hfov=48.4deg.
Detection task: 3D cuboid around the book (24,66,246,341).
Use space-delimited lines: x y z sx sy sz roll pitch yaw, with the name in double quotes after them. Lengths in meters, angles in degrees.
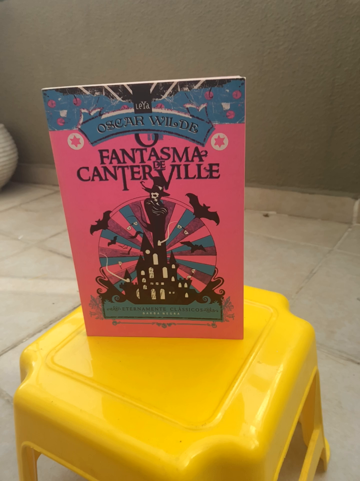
-0.025 -0.015 0.322 0.150 0.219 0.020 -1 24 8 "book"
